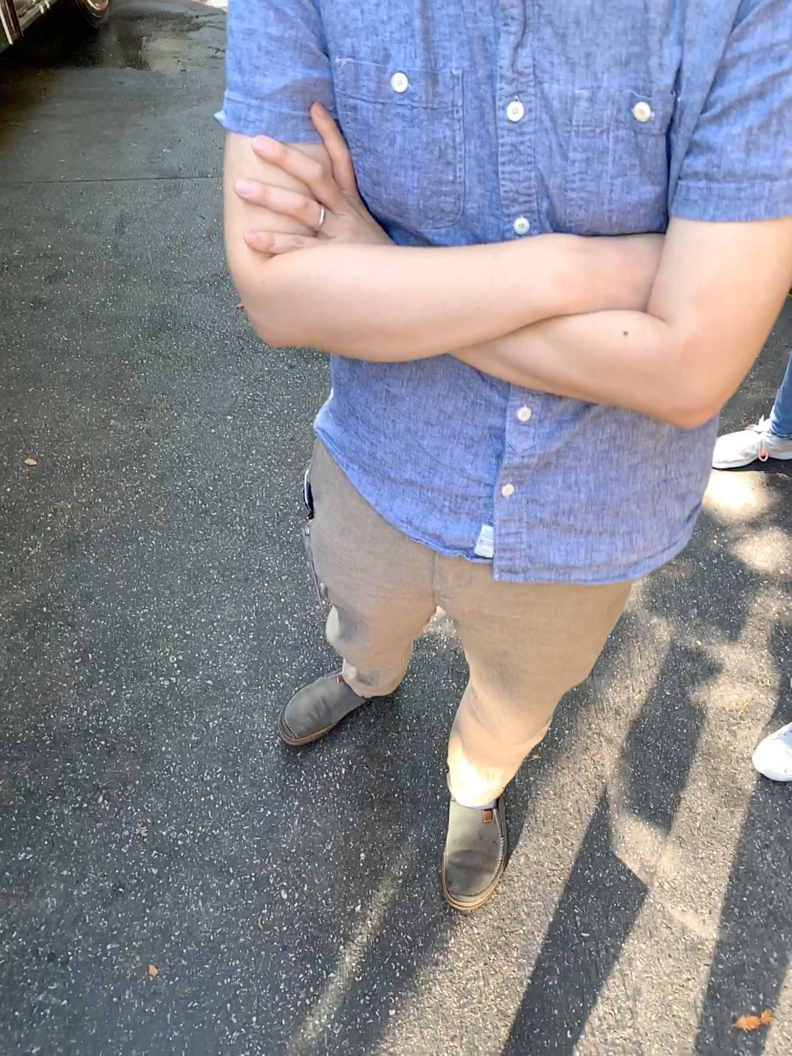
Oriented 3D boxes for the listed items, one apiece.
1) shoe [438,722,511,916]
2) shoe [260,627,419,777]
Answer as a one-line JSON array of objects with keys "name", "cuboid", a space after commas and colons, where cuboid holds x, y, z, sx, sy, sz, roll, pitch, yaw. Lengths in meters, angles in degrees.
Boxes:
[{"name": "shoe", "cuboid": [0.147, 0.526, 1.487, 0.120, 0.080, 0.321, 3, 48, 4]}, {"name": "shoe", "cuboid": [-0.109, 0.346, 1.645, 0.320, 0.060, 0.120, -36, 56, -27]}]
